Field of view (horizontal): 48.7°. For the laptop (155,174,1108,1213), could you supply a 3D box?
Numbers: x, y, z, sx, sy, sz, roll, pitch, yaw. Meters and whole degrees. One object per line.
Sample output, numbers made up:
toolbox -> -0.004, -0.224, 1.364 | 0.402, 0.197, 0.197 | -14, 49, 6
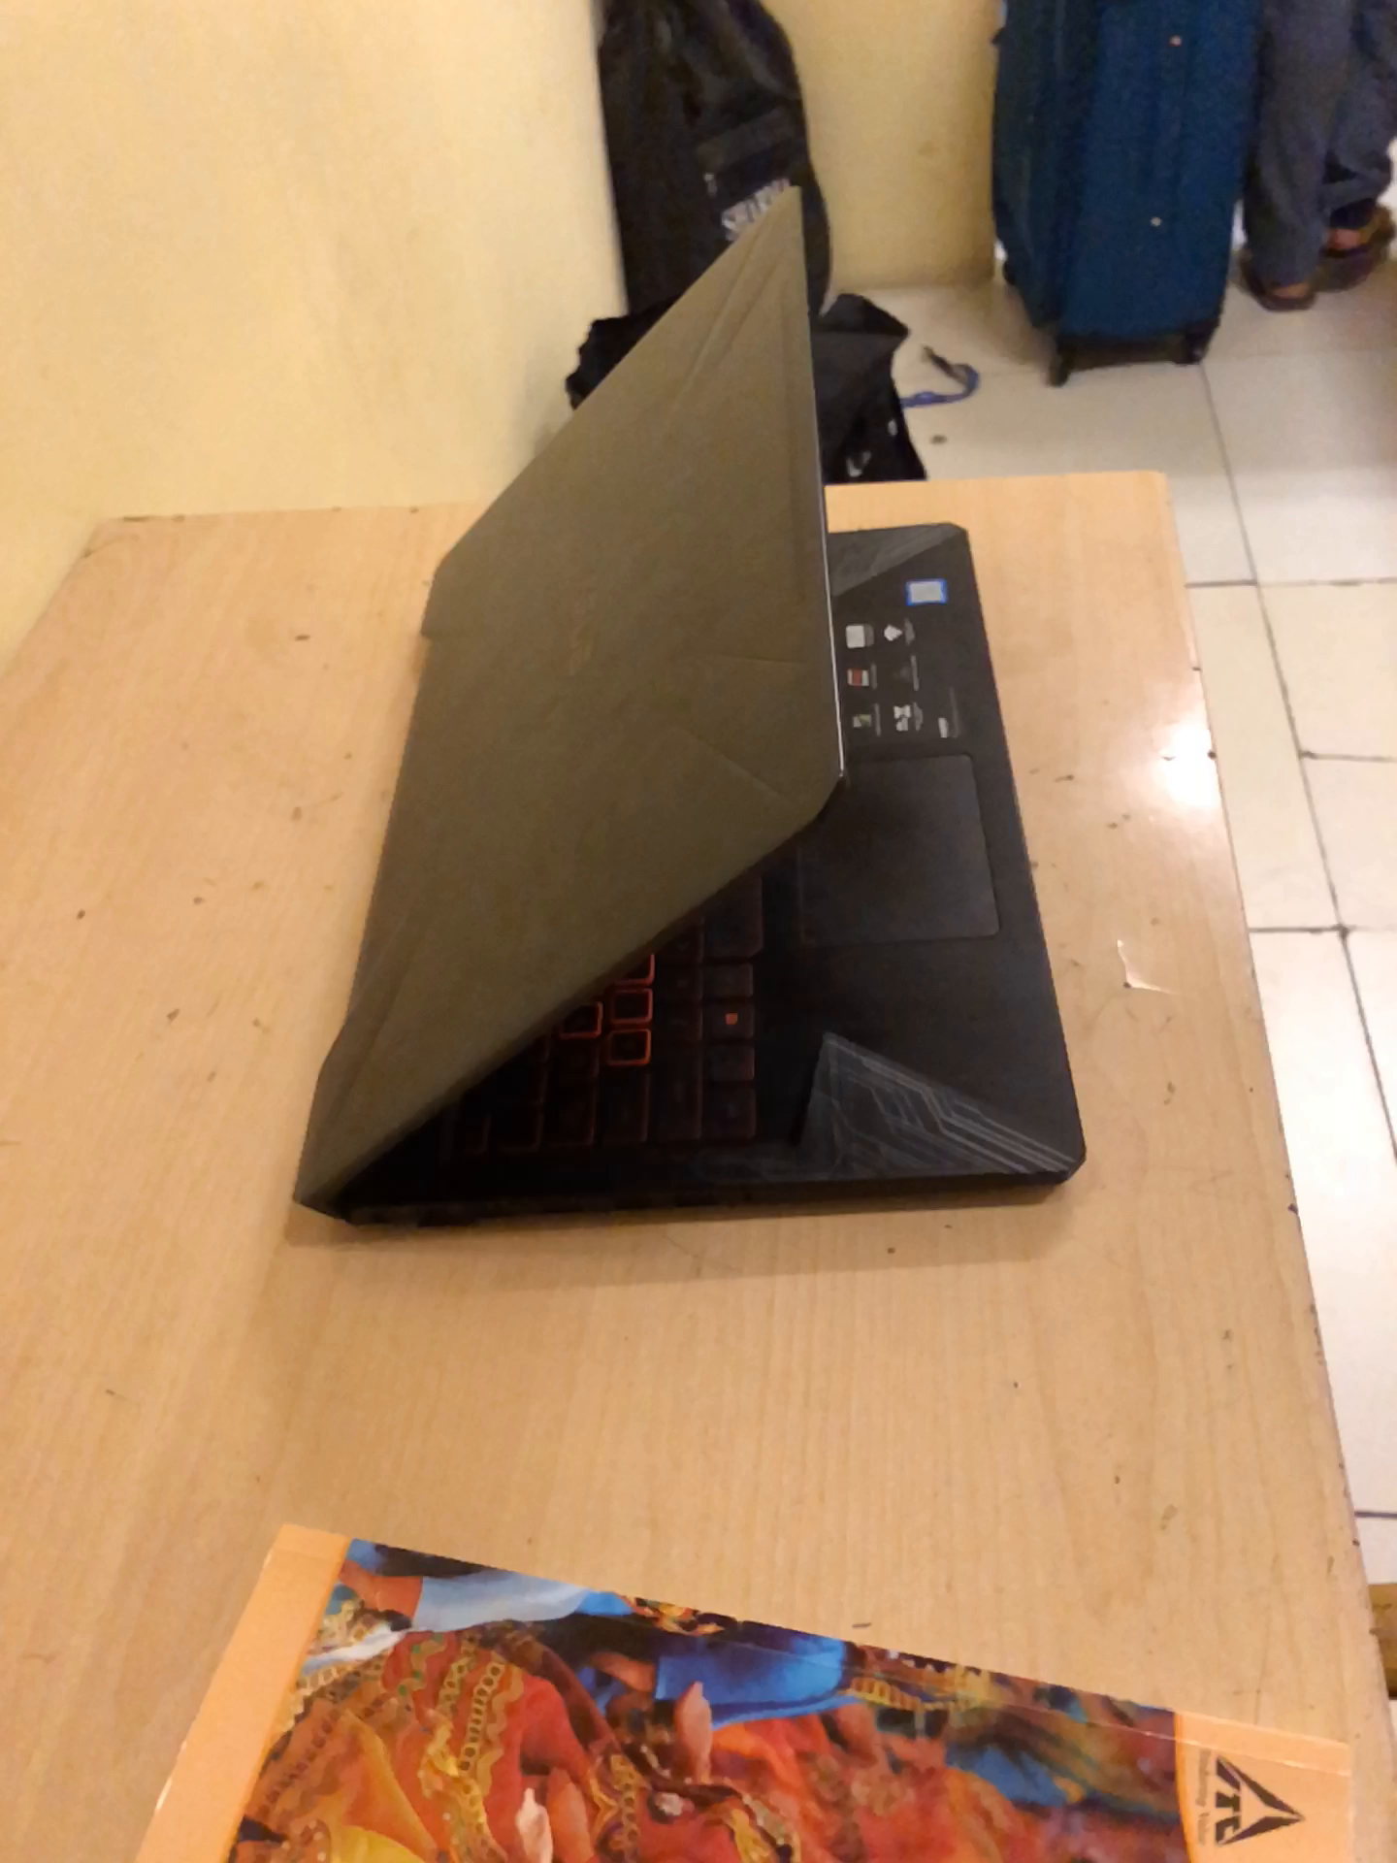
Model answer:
laptop -> -0.010, -0.109, 0.590 | 0.252, 0.173, 0.371 | -5, 47, 5
